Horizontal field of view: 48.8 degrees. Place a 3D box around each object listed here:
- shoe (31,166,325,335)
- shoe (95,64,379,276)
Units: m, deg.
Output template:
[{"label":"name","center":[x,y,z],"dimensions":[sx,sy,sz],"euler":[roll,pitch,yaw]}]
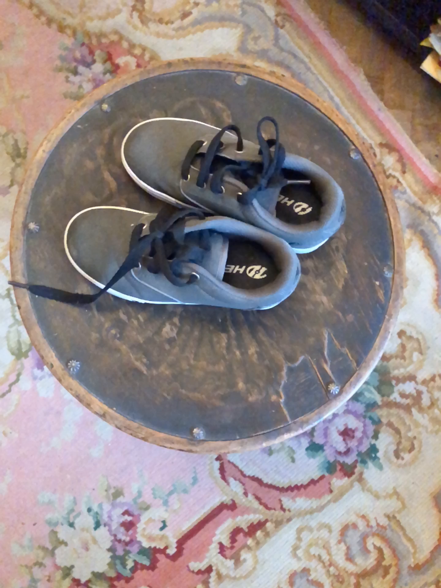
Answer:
[{"label":"shoe","center":[-0.033,-0.029,0.423],"dimensions":[0.211,0.100,0.090],"euler":[11,84,-4]},{"label":"shoe","center":[0.012,-0.102,0.440],"dimensions":[0.211,0.100,0.090],"euler":[20,83,-3]}]
